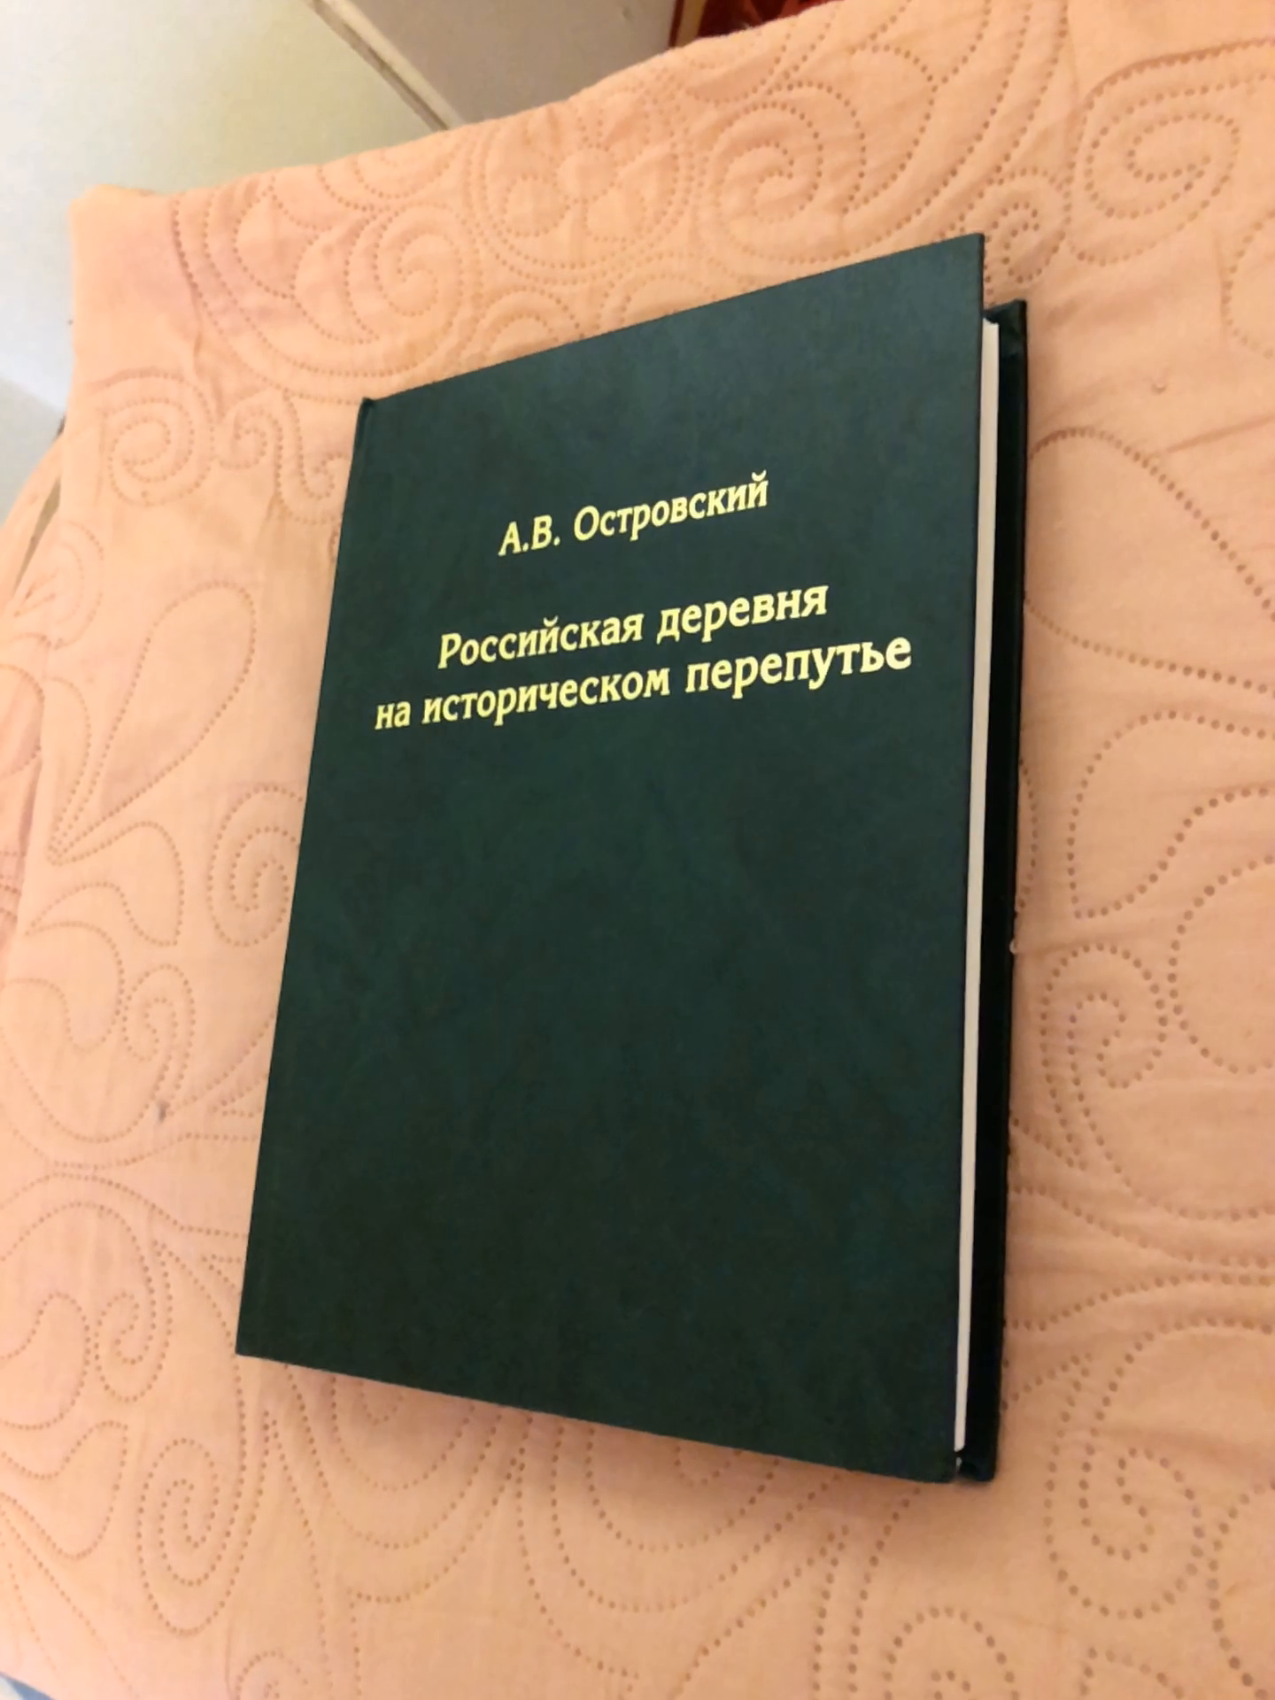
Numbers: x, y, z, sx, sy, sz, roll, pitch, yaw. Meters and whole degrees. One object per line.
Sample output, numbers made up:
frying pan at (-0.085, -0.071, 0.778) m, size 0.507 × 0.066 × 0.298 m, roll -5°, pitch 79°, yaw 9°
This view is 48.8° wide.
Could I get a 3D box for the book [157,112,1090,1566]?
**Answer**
book at (-0.004, -0.007, 0.289) m, size 0.180 × 0.040 × 0.240 m, roll -4°, pitch 74°, yaw 32°
